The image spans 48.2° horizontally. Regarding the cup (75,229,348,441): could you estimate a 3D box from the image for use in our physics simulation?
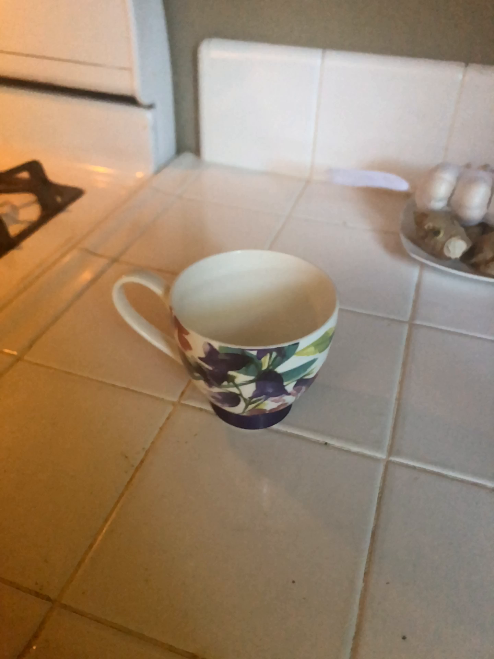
[{"bbox_3d":[-0.017,0.000,0.369,0.150,0.079,0.111,3,40,3],"label":"cup"}]
